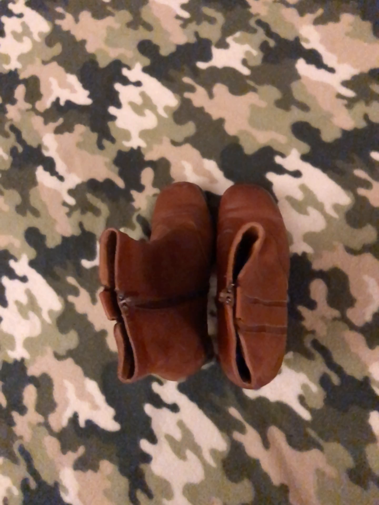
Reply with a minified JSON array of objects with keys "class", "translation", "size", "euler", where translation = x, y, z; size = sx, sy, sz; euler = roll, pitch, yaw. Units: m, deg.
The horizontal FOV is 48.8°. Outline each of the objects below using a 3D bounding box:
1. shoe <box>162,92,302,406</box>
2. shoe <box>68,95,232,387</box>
[{"class":"shoe","translation":[0.049,0.012,0.384],"size":[0.090,0.190,0.220],"euler":[-3,76,14]},{"class":"shoe","translation":[-0.025,0.007,0.405],"size":[0.090,0.190,0.220],"euler":[-6,75,13]}]
